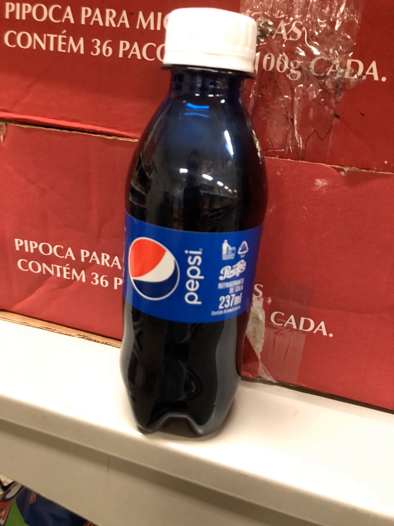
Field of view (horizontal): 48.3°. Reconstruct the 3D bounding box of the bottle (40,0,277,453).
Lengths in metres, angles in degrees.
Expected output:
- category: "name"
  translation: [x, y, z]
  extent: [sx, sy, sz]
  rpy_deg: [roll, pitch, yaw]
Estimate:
- category: "bottle"
  translation: [-0.010, -0.015, 0.168]
  extent: [0.060, 0.149, 0.060]
  rpy_deg: [2, 21, -1]
